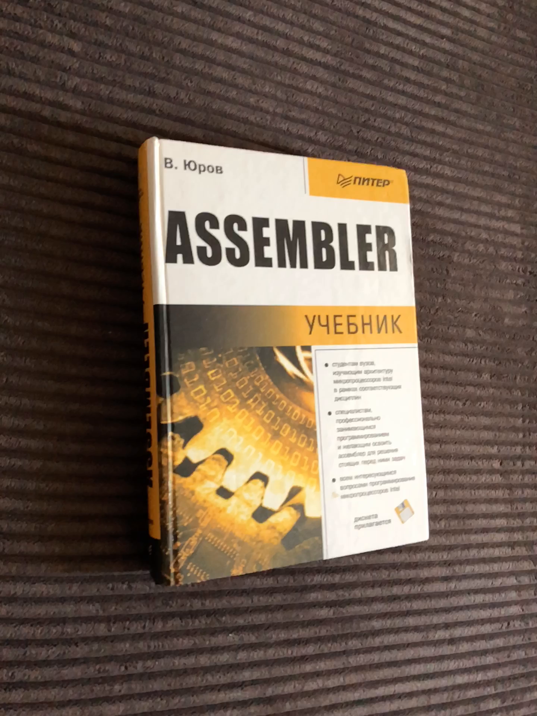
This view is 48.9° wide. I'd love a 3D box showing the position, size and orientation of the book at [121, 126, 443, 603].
[{"bbox_3d":[0.008,0.000,0.354,0.170,0.058,0.236,-2,85,-25],"label":"book"}]
